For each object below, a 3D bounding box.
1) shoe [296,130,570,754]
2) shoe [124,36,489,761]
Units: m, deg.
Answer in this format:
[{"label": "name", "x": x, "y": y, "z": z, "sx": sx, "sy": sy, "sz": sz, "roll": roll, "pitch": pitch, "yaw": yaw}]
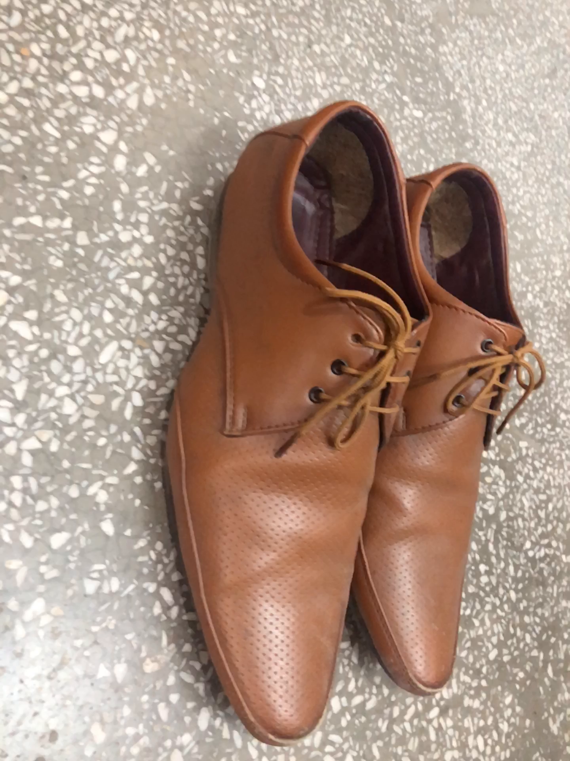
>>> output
[{"label": "shoe", "x": 0.085, "y": 0.030, "z": 0.364, "sx": 0.106, "sy": 0.118, "sz": 0.284, "roll": 11, "pitch": 73, "yaw": -35}, {"label": "shoe", "x": 0.006, "y": 0.015, "z": 0.305, "sx": 0.106, "sy": 0.118, "sz": 0.284, "roll": 11, "pitch": 73, "yaw": -35}]
